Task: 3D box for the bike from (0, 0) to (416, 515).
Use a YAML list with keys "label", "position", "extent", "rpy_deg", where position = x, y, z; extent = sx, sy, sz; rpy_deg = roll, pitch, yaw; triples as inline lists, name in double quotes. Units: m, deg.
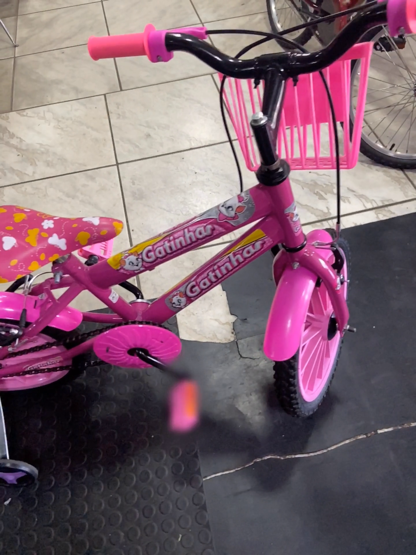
- label: "bike"
  position: [-0.166, -0.035, 0.730]
  extent: [0.939, 0.789, 0.467]
  rpy_deg: [-11, 54, -5]
